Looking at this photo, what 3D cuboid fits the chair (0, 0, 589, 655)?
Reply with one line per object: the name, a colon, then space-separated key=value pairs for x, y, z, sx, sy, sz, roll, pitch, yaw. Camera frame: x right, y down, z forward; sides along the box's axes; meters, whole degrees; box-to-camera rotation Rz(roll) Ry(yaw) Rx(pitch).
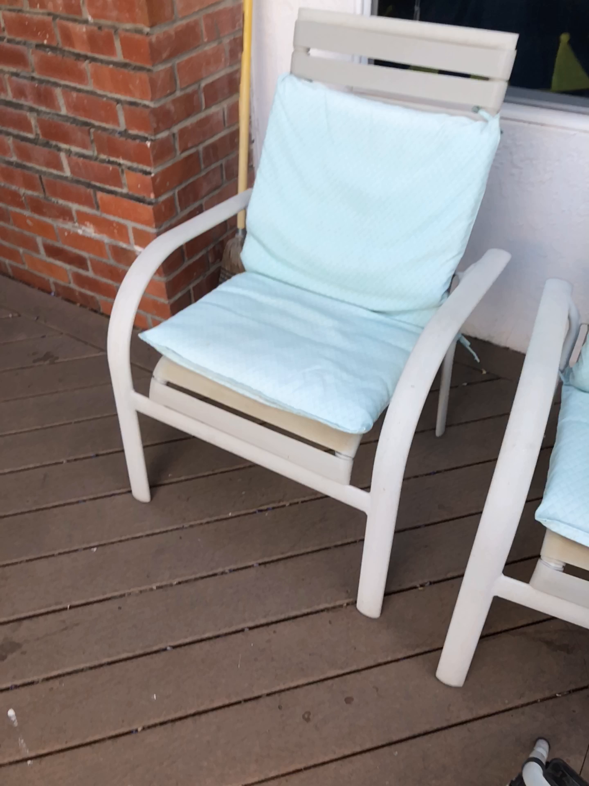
chair: x=0.119 y=-0.215 z=1.491 sx=0.741 sy=0.994 sz=0.975 roll=20 pitch=47 yaw=22
